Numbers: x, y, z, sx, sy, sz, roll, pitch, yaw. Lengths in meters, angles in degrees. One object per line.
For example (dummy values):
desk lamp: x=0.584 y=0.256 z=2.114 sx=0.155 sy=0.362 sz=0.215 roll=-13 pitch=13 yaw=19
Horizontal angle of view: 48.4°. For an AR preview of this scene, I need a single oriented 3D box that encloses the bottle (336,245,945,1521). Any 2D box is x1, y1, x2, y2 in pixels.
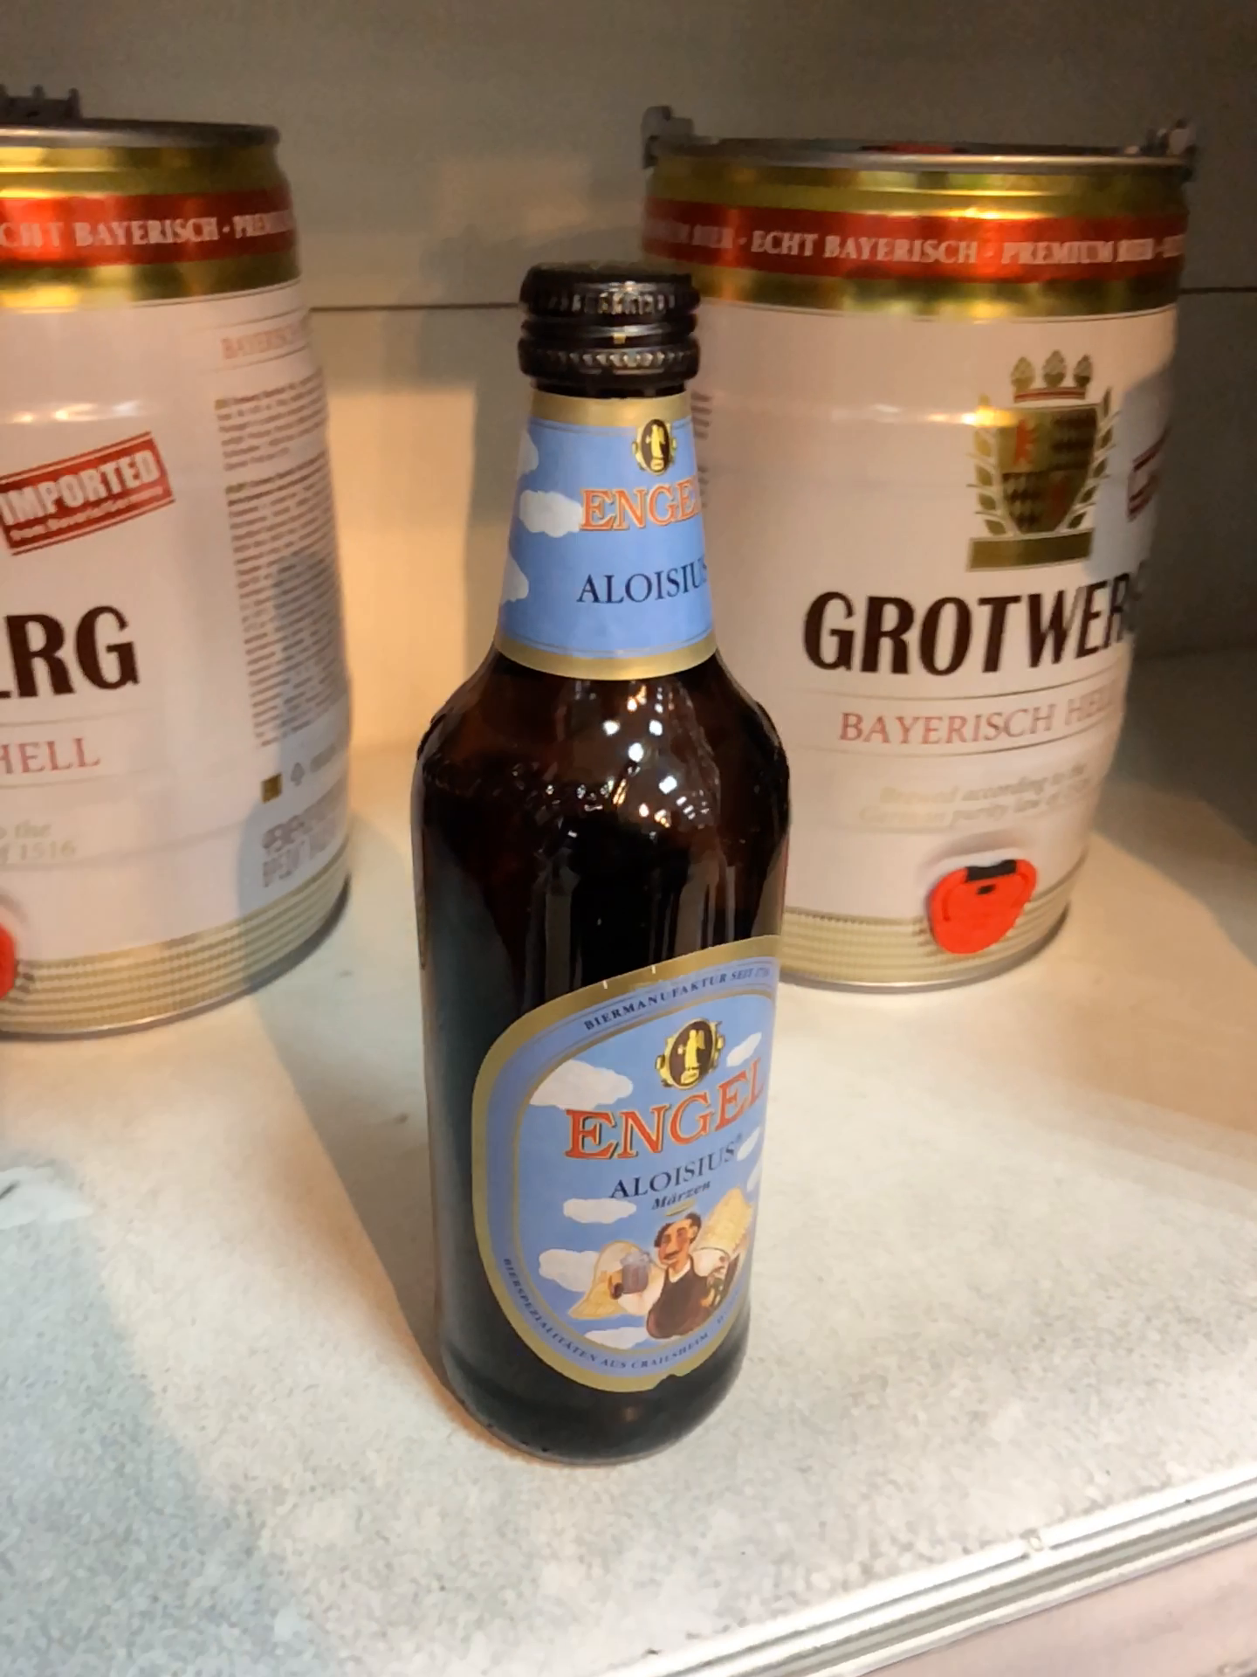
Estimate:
bottle: x=-0.003 y=0.015 z=0.253 sx=0.070 sy=0.219 sz=0.060 roll=-10 pitch=30 yaw=-21
